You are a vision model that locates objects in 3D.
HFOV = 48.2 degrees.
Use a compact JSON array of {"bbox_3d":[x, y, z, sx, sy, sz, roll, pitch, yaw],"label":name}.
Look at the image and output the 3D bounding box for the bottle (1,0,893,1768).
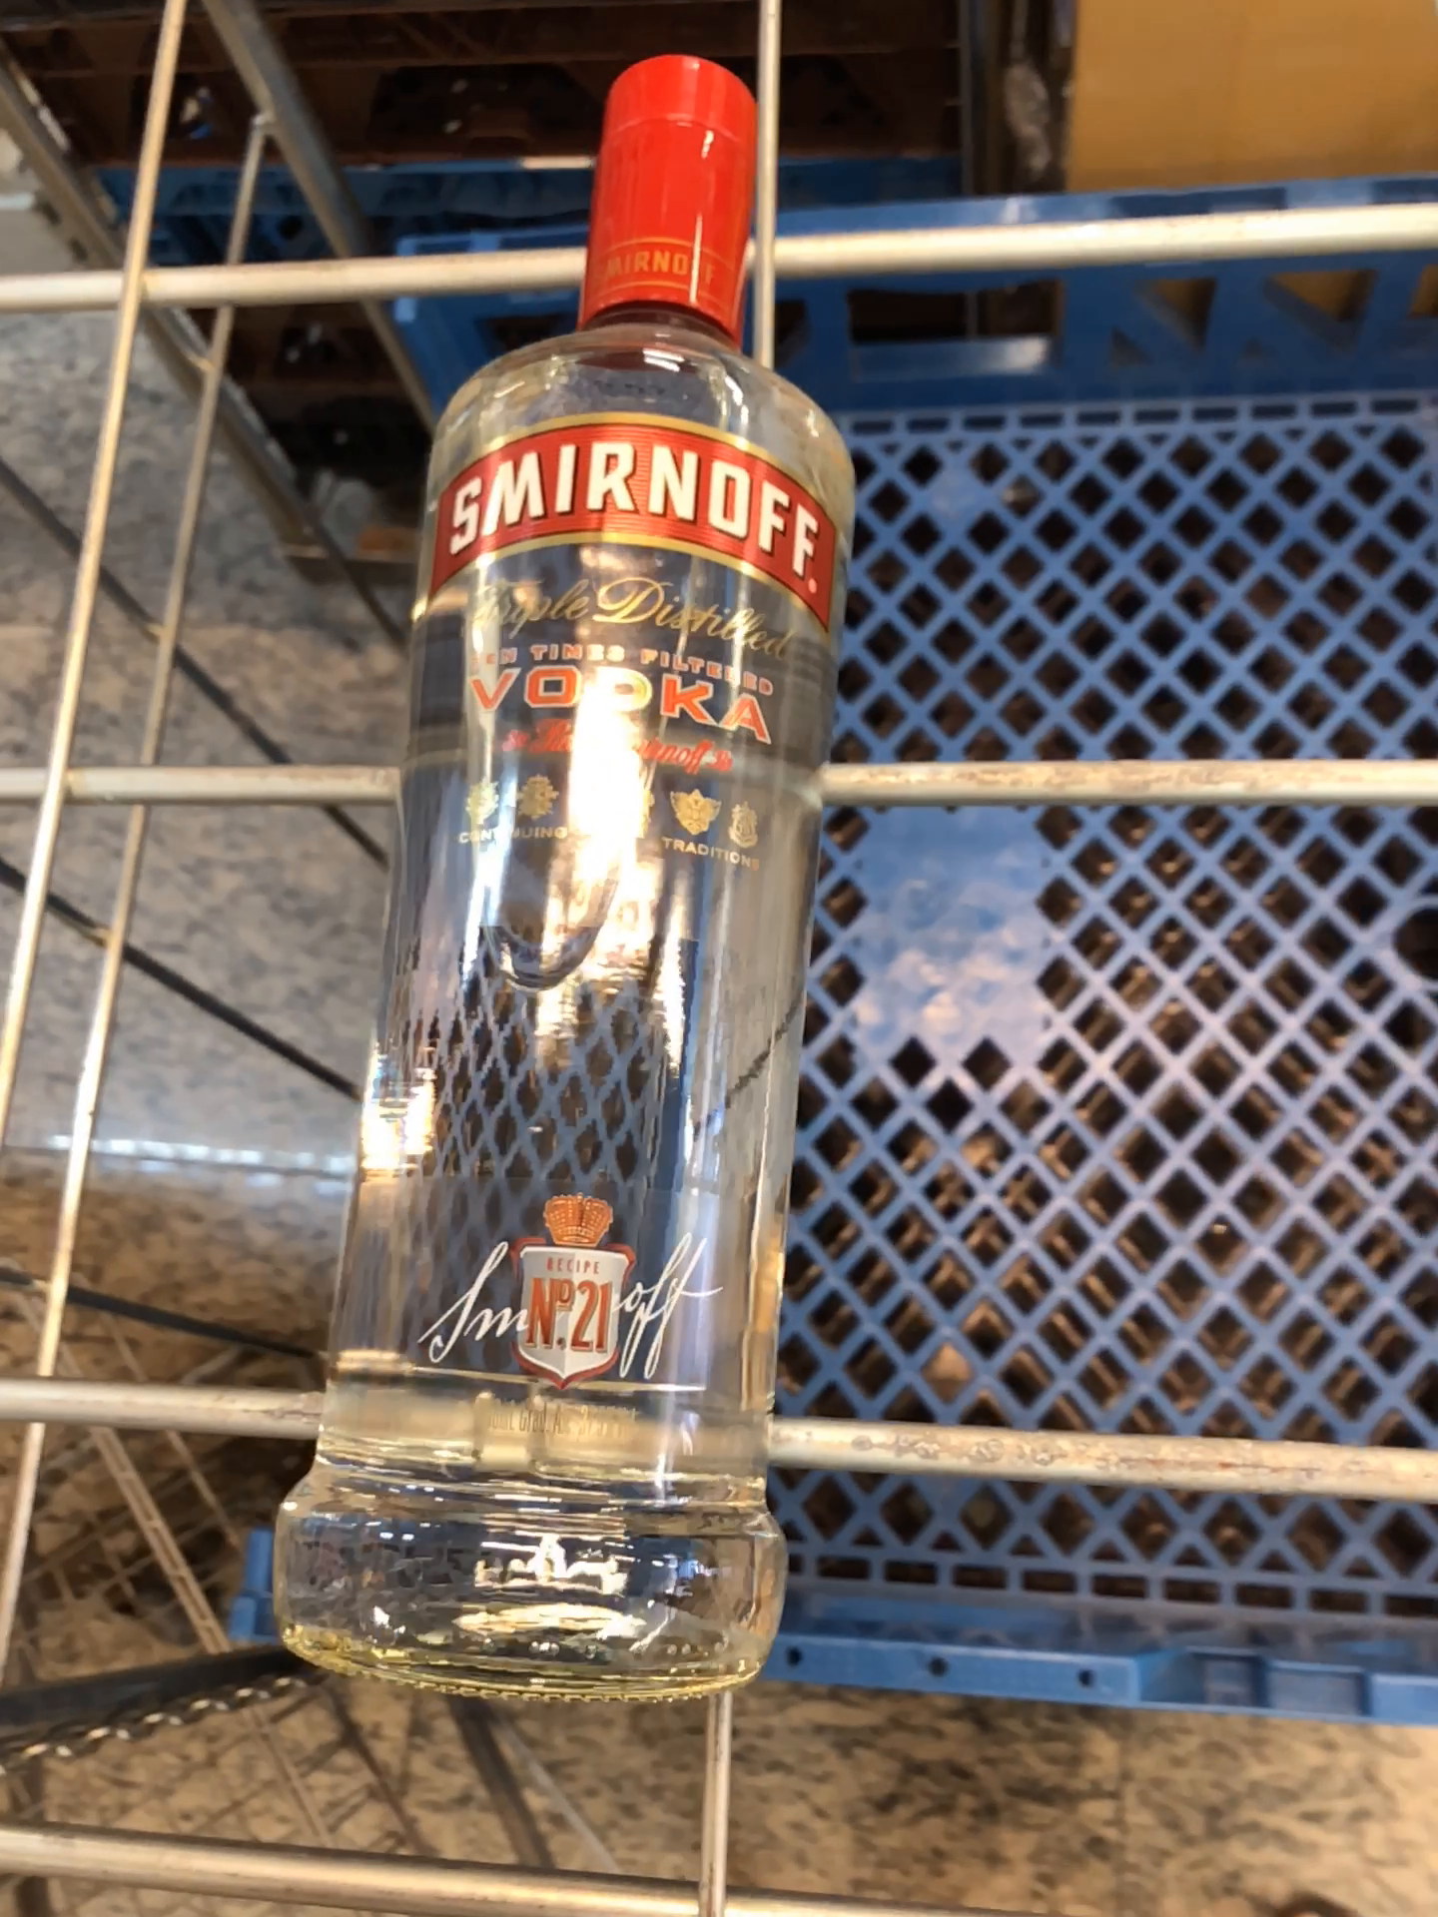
[{"bbox_3d":[-0.027,-0.039,0.293,0.100,0.100,0.310,3,75,8],"label":"bottle"}]
